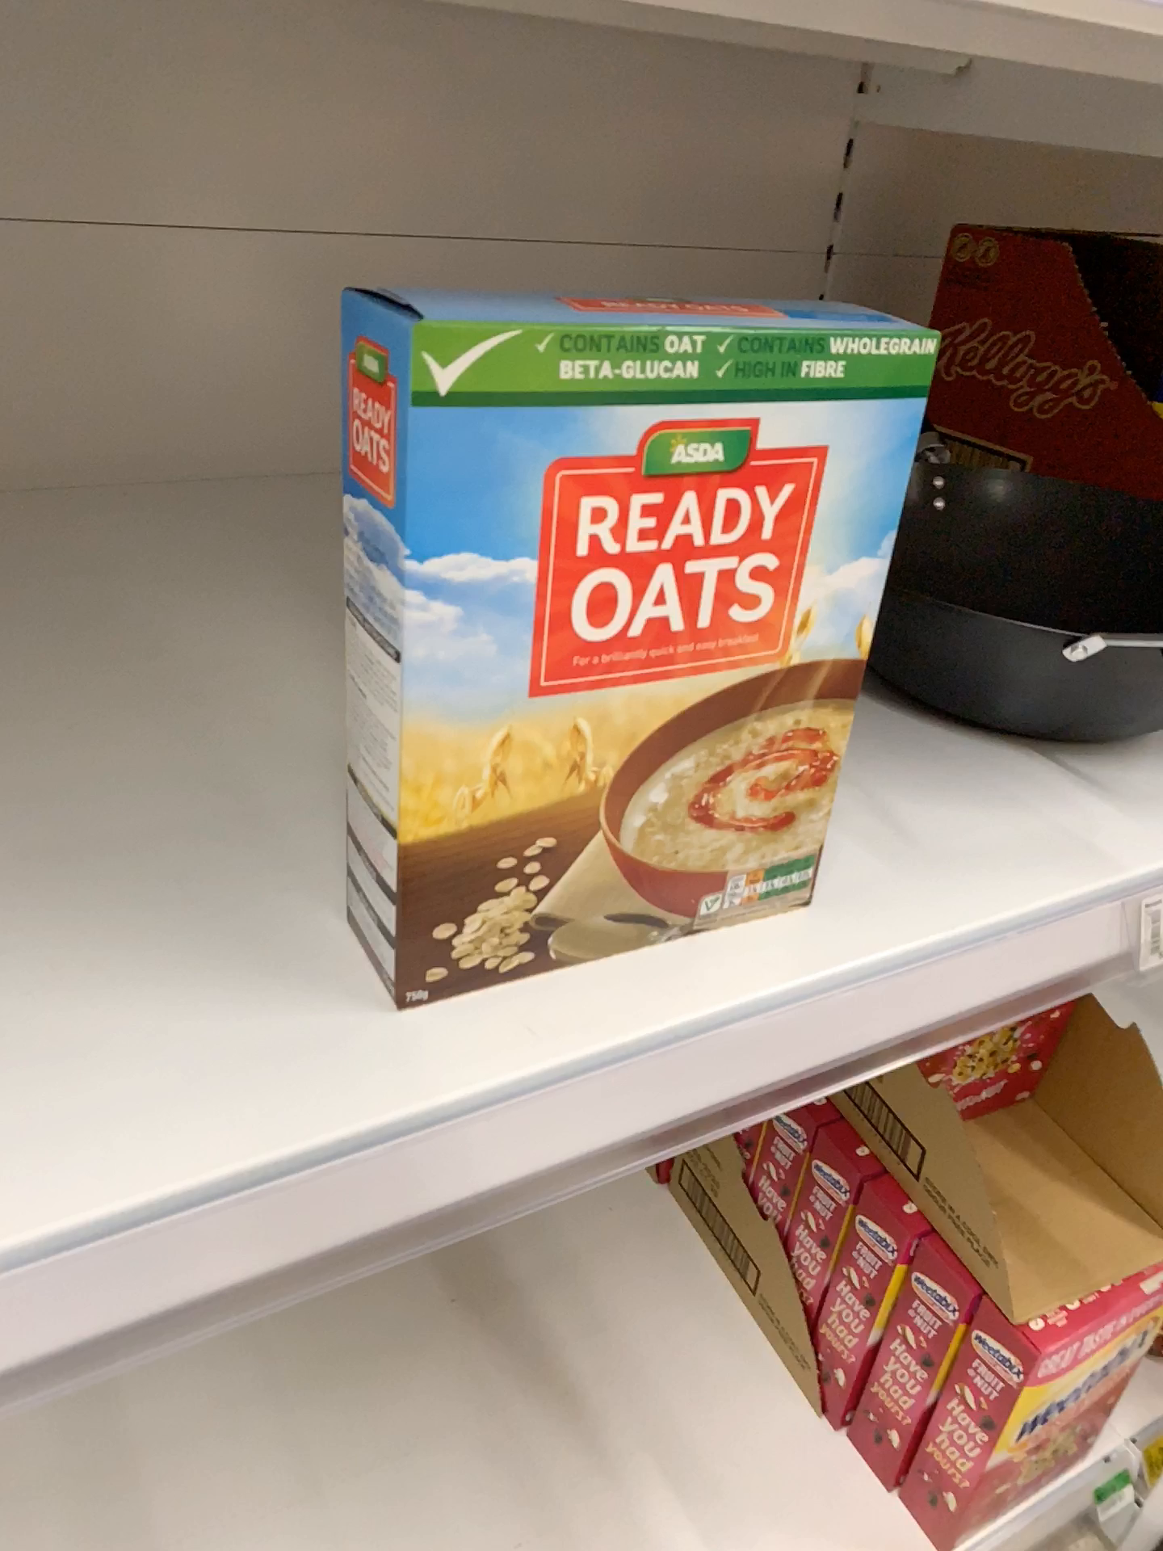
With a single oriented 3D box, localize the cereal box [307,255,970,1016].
[{"bbox_3d":[0.012,-0.057,0.472,0.221,0.258,0.080,-10,33,-27],"label":"cereal box"}]
